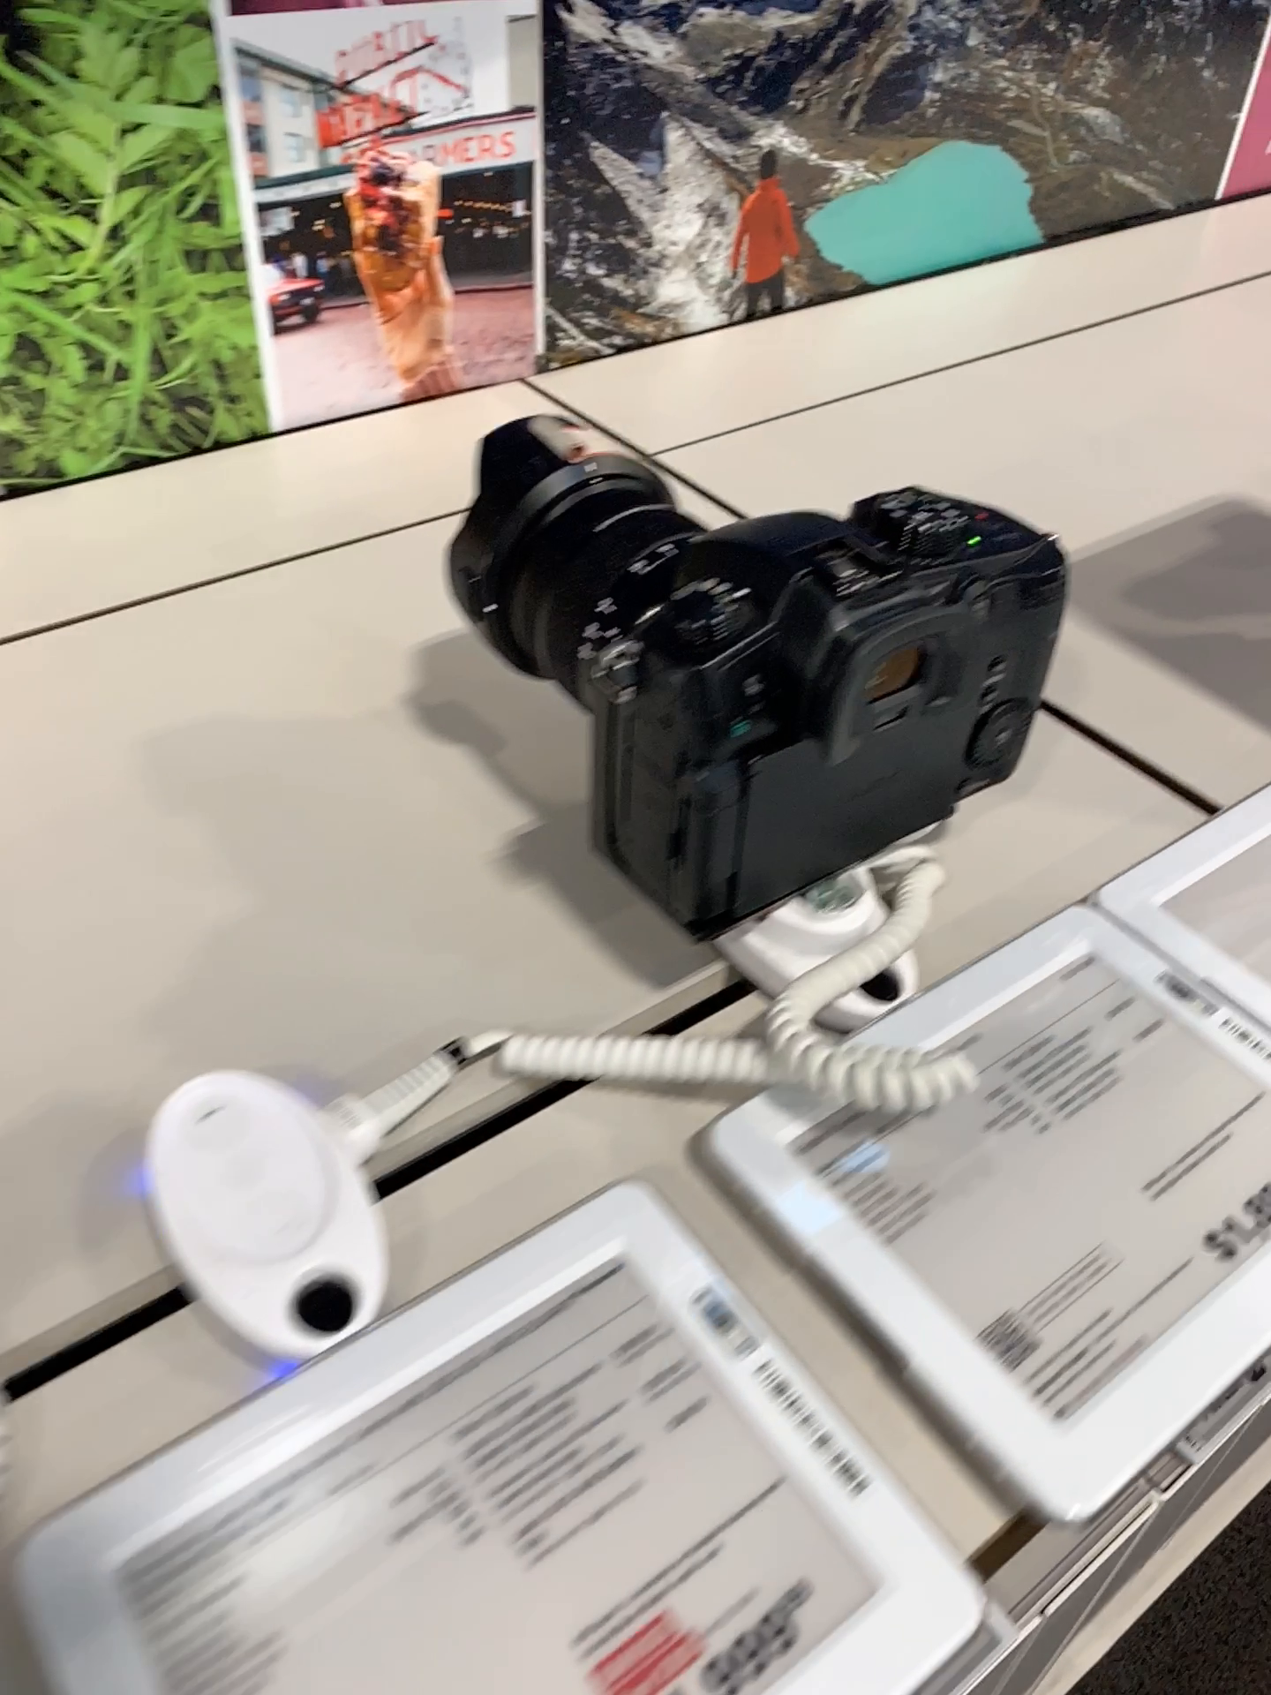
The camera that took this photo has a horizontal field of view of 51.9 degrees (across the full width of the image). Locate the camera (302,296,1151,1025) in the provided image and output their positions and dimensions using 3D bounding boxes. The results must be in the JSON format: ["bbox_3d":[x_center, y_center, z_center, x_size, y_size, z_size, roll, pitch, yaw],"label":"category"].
[{"bbox_3d":[0.016,-0.073,0.398,0.140,0.099,0.201,-27,49,-28],"label":"camera"}]
